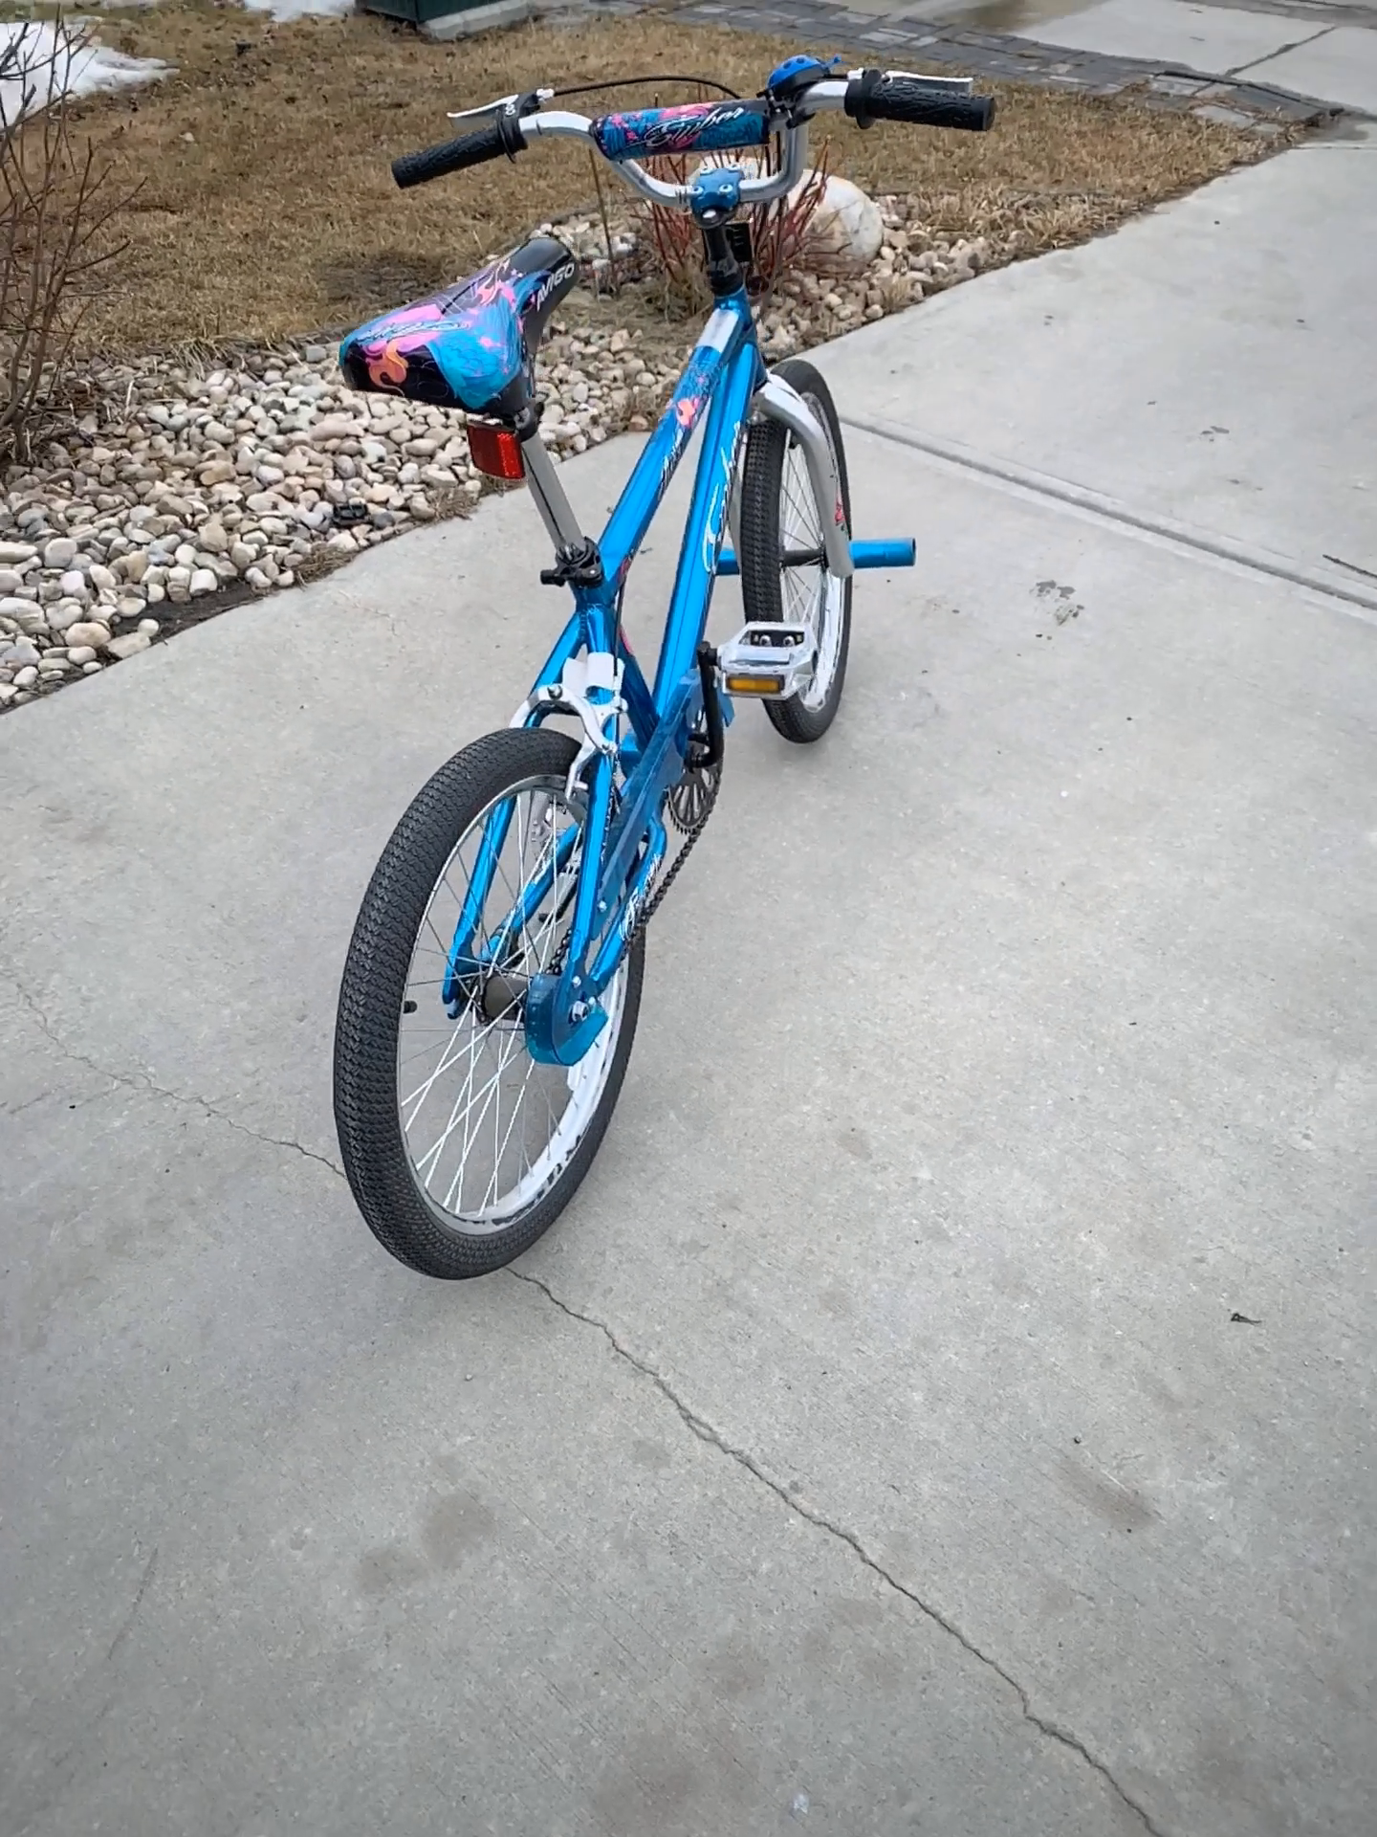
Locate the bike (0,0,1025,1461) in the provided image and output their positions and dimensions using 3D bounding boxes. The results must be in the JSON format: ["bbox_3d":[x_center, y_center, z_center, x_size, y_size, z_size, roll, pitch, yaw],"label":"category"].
[{"bbox_3d":[-0.129,-0.373,1.504,0.681,0.836,1.391,12,45,14],"label":"bike"}]
